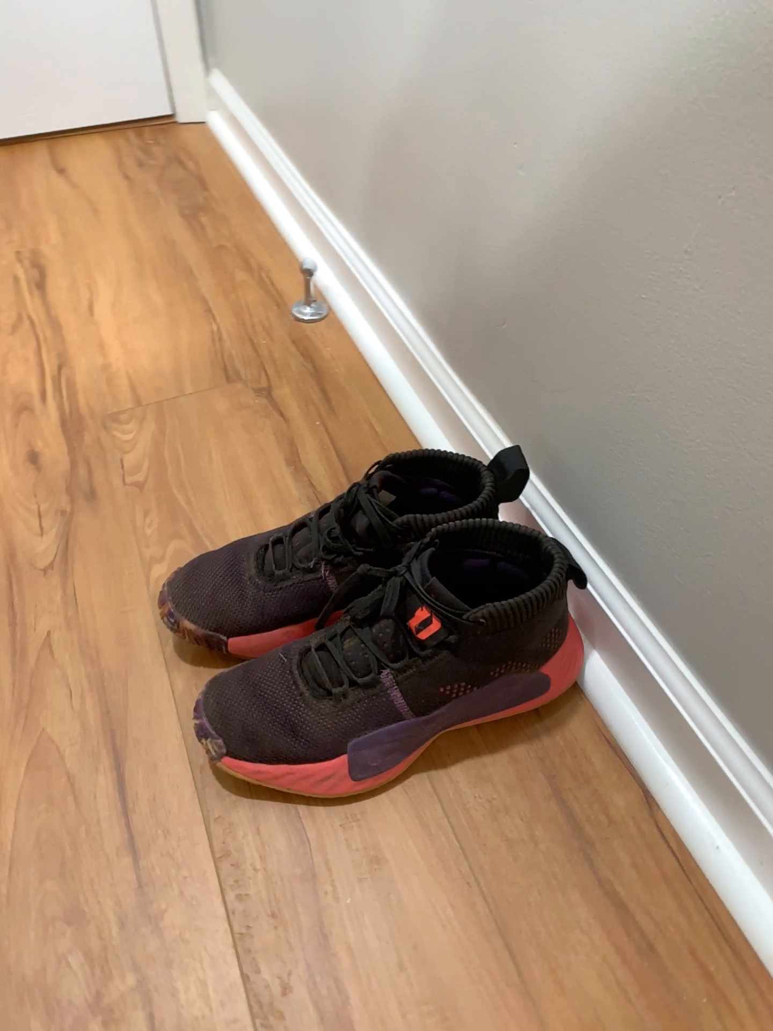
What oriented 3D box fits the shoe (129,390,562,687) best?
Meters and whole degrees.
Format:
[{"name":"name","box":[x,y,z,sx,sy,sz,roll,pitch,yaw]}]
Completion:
[{"name":"shoe","box":[-0.033,0.014,0.600,0.285,0.131,0.120,-10,46,-10]}]

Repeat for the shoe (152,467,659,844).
[{"name":"shoe","box":[0.010,0.087,0.527,0.285,0.131,0.120,-14,47,-14]}]
